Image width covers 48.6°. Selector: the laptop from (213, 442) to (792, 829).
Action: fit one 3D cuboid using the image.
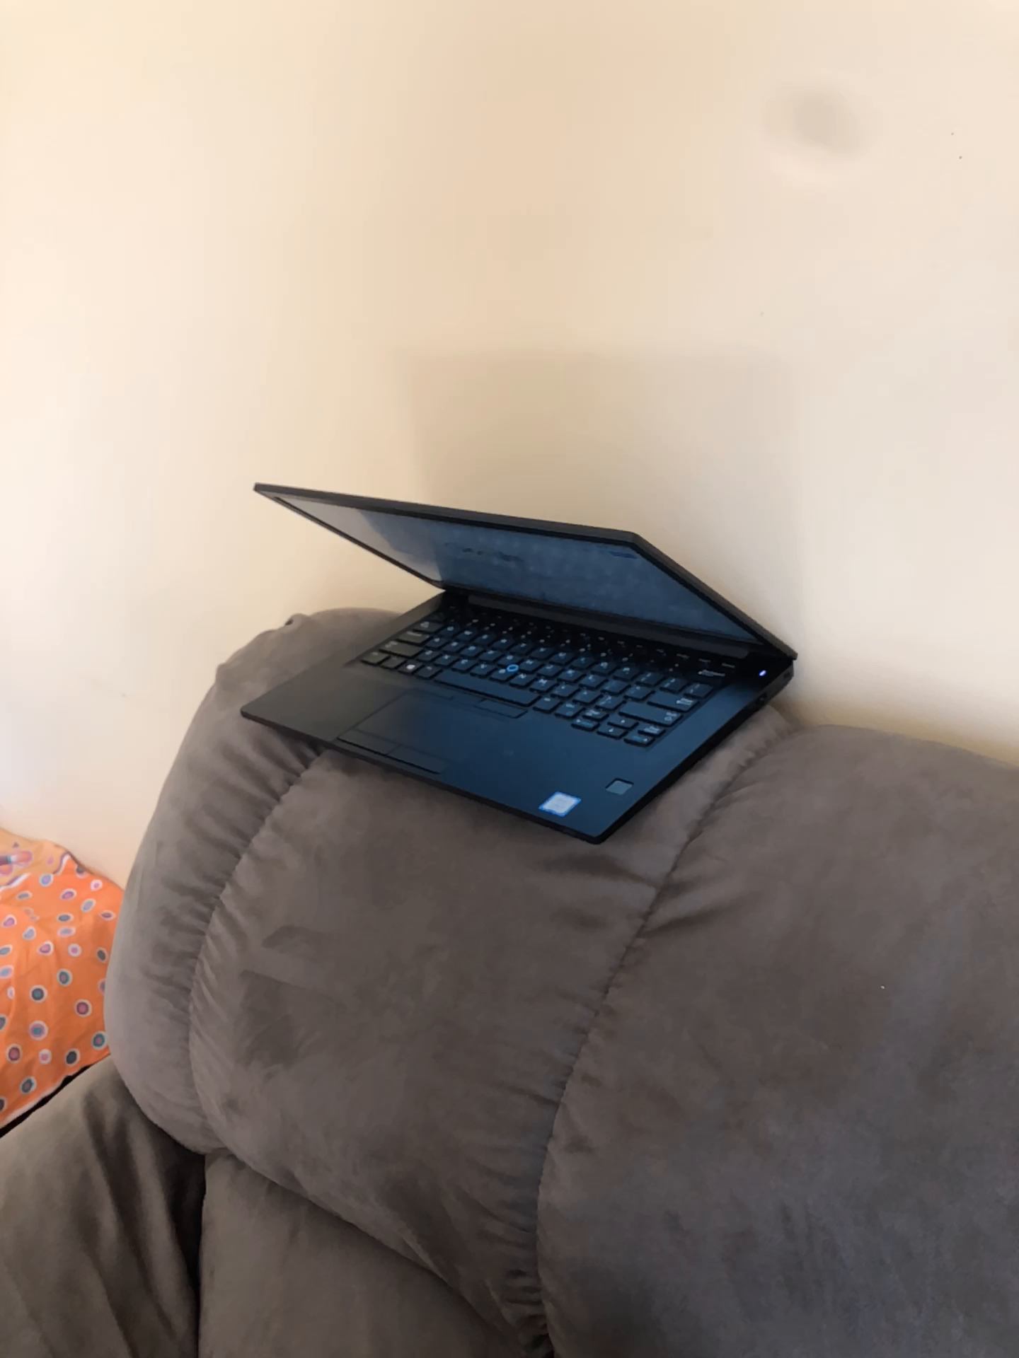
[{"bbox_3d":[-0.009,-0.054,0.758,0.322,0.128,0.213,14,34,40],"label":"laptop"}]
